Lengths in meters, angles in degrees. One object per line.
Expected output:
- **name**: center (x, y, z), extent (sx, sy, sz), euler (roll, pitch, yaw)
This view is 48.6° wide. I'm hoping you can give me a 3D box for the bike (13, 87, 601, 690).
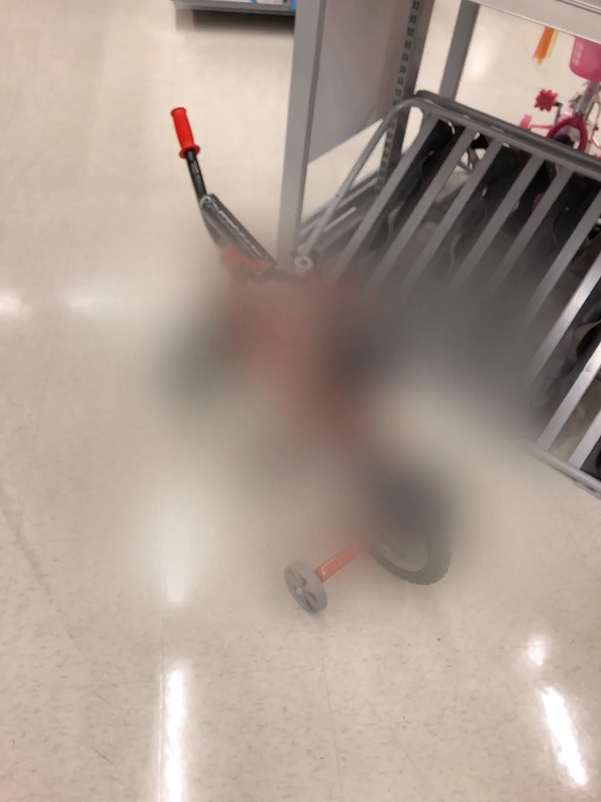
- **bike**: center (0.014, -0.031, 1.205), extent (0.700, 0.678, 0.533), euler (35, 53, 22)
